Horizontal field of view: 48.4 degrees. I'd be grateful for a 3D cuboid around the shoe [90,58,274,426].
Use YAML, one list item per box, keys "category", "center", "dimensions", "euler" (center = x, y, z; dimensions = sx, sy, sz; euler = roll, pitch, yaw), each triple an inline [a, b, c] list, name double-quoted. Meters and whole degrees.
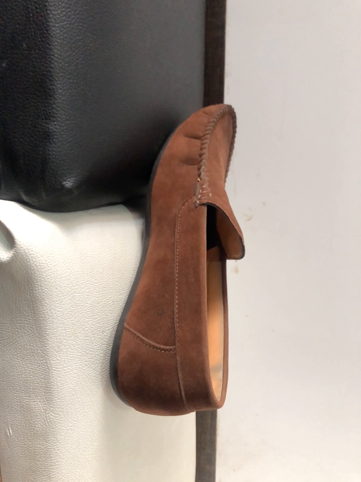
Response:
- category: "shoe"
  center: [0.027, -0.004, 0.363]
  dimensions: [0.141, 0.080, 0.290]
  euler: [63, 34, -57]
